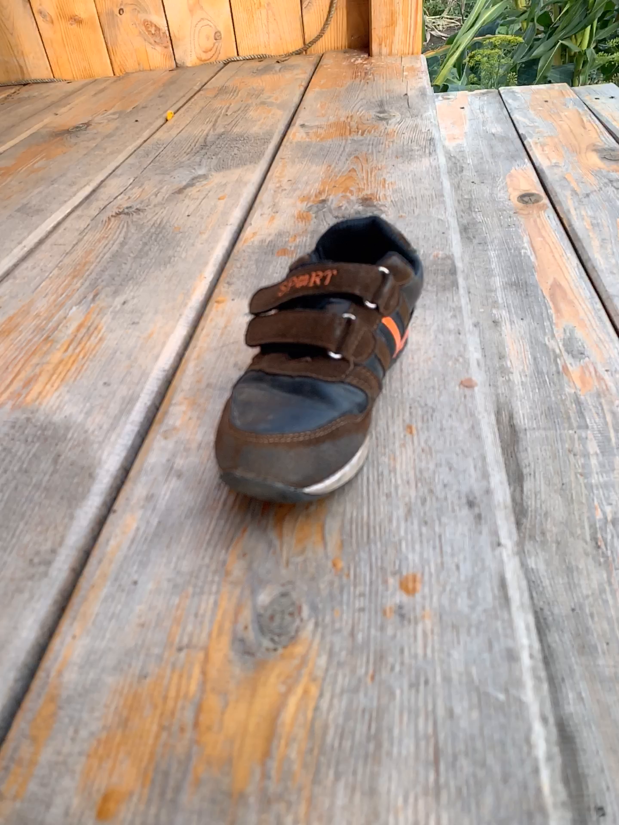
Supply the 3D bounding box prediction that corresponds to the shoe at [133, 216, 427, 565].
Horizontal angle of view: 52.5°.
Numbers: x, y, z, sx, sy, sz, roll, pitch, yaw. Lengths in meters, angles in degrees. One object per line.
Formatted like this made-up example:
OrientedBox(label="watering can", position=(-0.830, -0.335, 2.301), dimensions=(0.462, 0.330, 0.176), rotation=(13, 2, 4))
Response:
OrientedBox(label="shoe", position=(0.003, -0.028, 0.349), dimensions=(0.090, 0.089, 0.192), rotation=(7, 40, 18))
